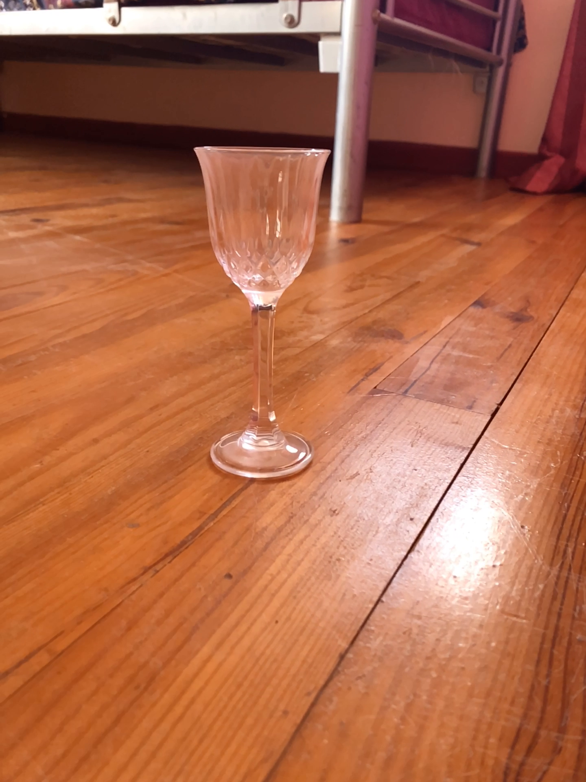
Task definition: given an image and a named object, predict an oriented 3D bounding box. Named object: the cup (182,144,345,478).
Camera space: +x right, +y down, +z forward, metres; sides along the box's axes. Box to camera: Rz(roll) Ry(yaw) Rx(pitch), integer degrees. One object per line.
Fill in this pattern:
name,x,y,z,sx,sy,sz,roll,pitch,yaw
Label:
cup,-0.012,-0.036,0.284,0.058,0.133,0.061,0,21,0
